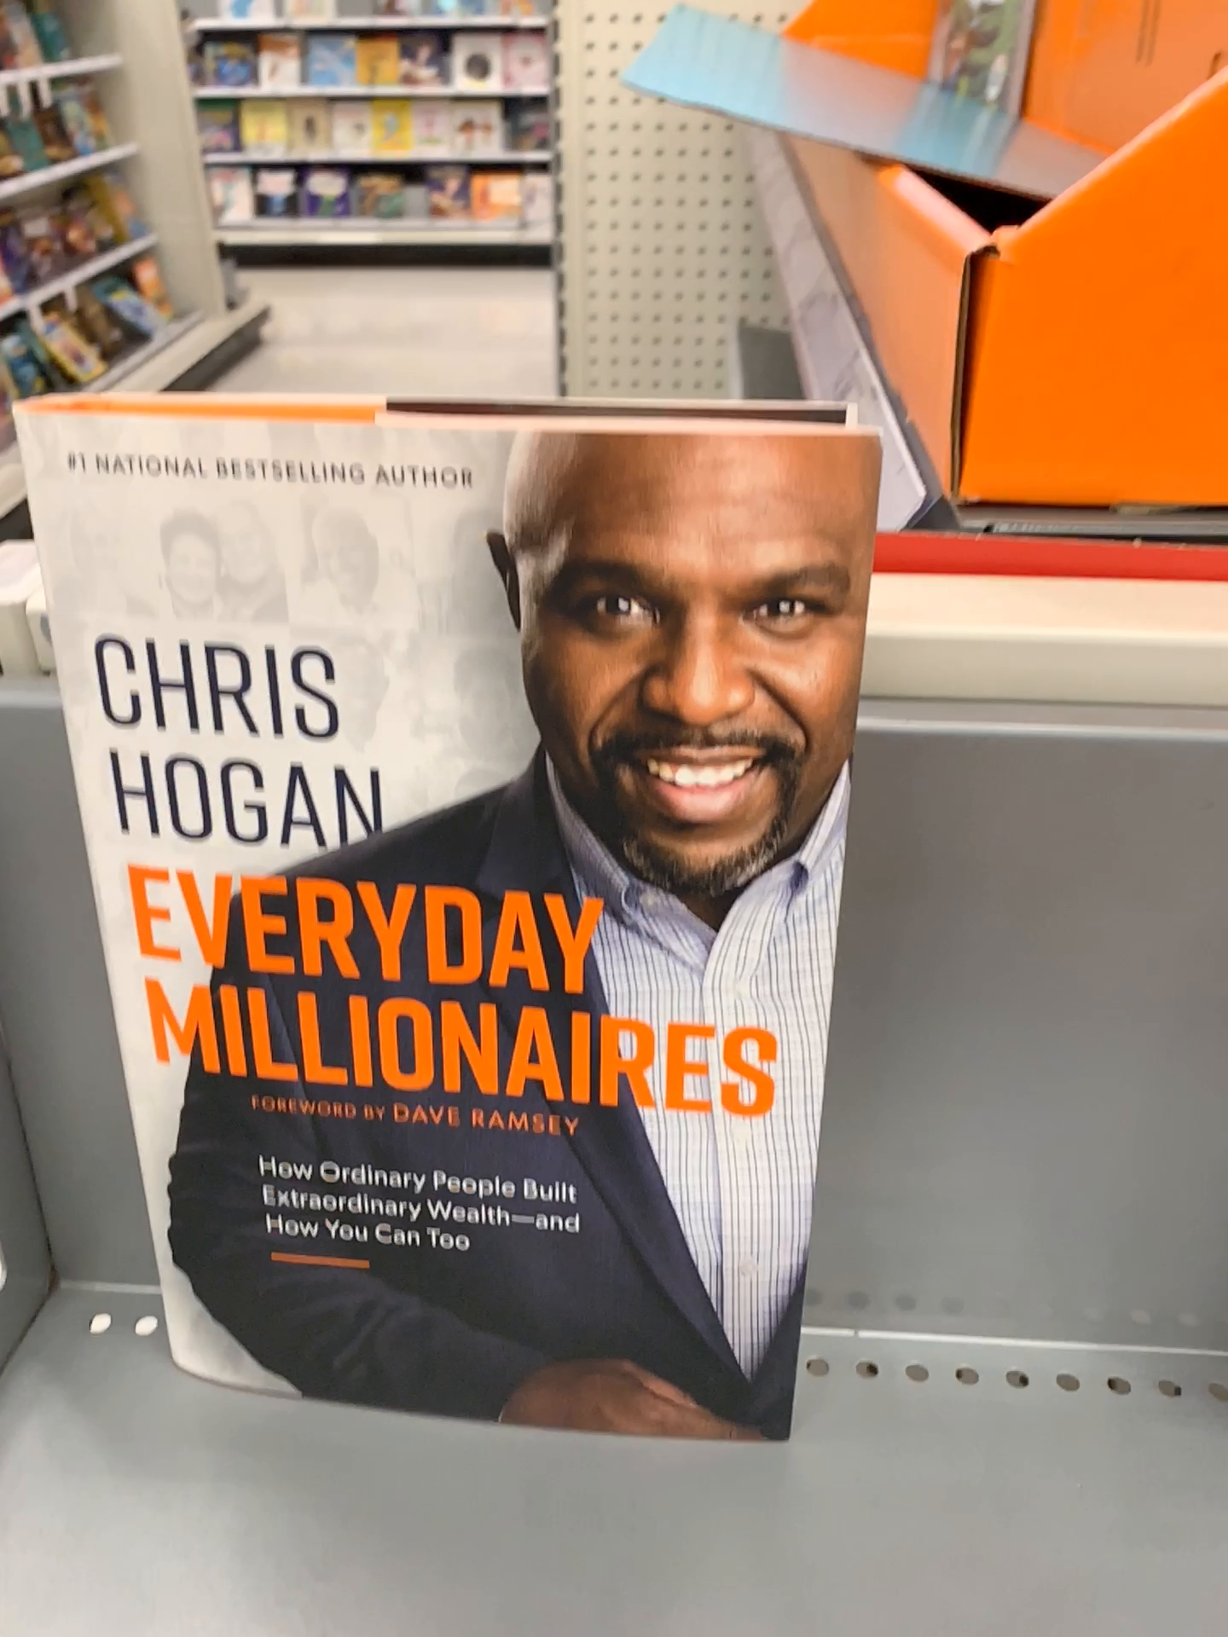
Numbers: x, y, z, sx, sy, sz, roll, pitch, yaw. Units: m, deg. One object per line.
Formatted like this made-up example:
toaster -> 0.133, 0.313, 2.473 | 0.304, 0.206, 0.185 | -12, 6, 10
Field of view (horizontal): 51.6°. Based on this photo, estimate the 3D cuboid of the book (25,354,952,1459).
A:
book -> -0.024, 0.029, 0.280 | 0.160, 0.241, 0.037 | 4, 24, 7
